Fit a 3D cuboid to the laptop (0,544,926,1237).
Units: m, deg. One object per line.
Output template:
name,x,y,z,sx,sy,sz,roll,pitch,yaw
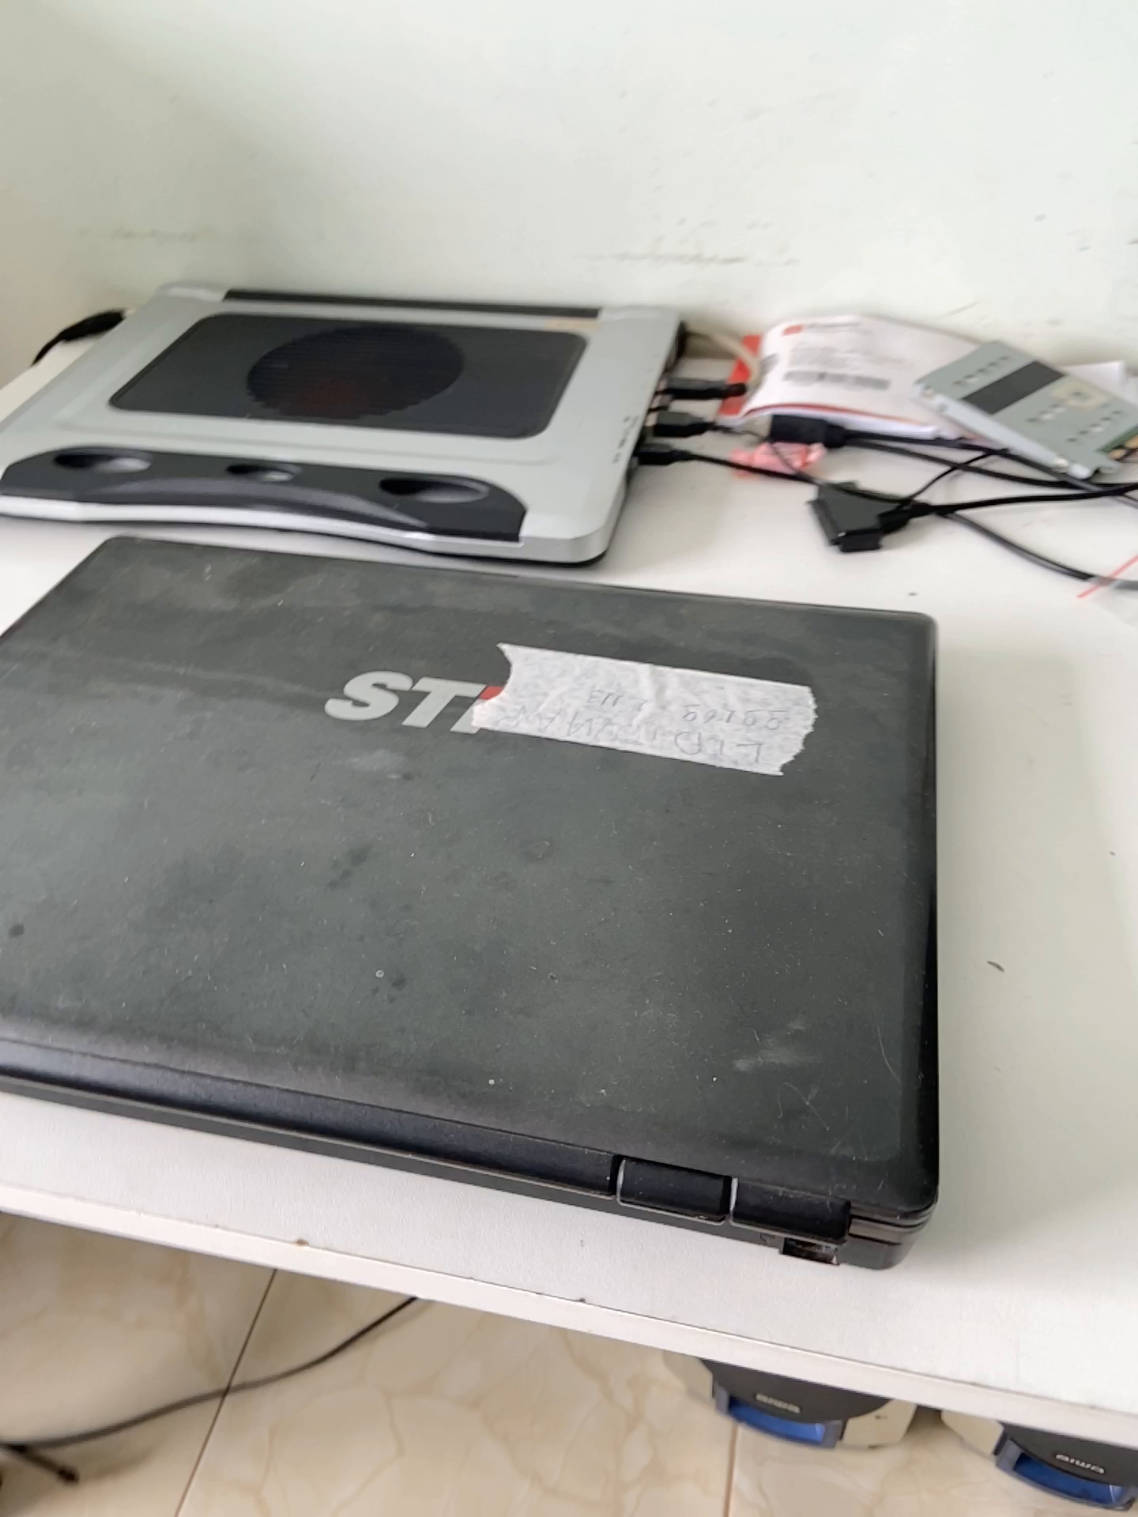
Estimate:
laptop,-0.062,0.006,0.376,0.337,0.006,0.235,7,41,12
